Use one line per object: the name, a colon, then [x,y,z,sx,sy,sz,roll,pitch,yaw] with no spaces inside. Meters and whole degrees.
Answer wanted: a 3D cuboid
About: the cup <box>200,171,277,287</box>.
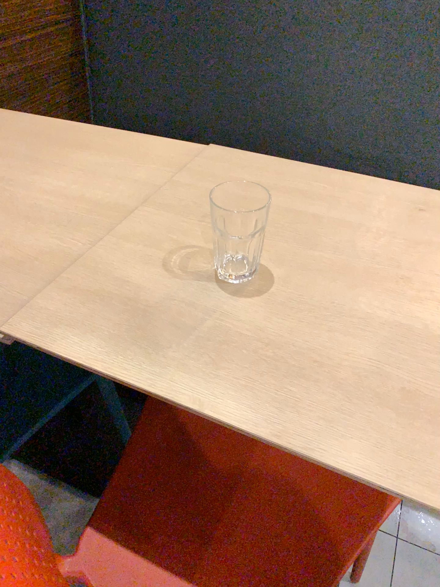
cup: [0.021,-0.084,0.590,0.080,0.119,0.080,0,41,0]
